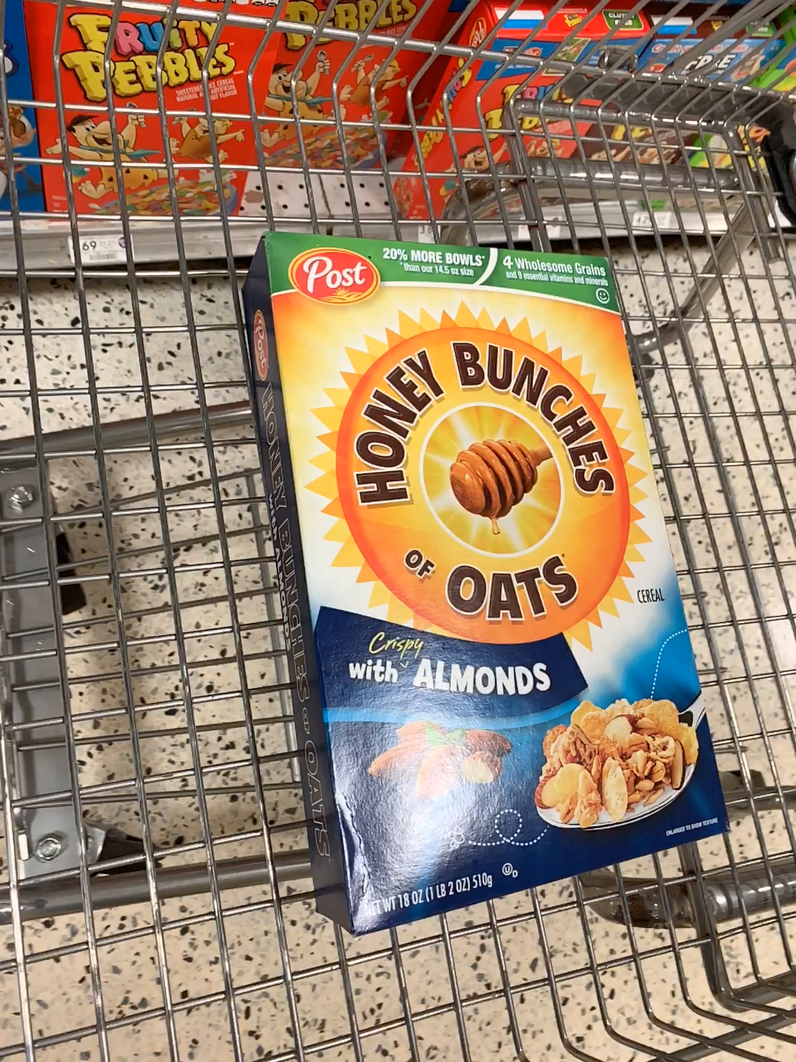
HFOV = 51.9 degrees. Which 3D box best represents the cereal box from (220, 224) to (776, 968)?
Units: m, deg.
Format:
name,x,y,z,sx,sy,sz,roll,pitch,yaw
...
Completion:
name,x,y,z,sx,sy,sz,roll,pitch,yaw
cereal box,0.042,0.011,0.392,0.211,0.060,0.301,-4,76,-23
